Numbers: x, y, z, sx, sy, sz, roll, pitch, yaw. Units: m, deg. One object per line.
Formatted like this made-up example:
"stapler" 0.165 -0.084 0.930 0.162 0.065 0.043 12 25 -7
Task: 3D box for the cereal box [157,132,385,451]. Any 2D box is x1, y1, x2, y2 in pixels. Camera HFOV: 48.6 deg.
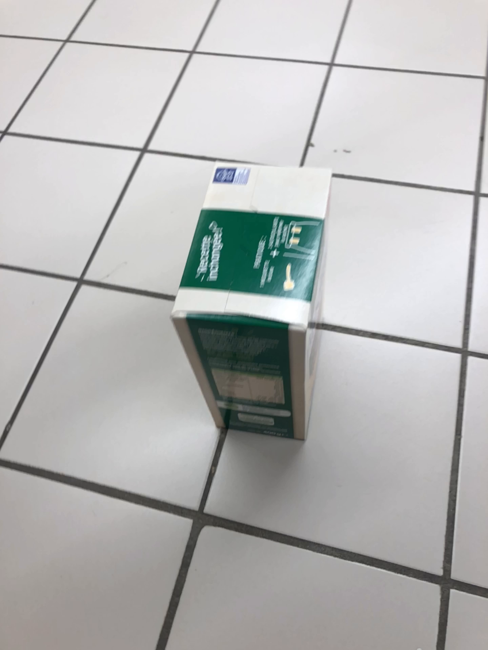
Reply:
"cereal box" 0.031 -0.015 0.420 0.120 0.199 0.151 7 60 9
